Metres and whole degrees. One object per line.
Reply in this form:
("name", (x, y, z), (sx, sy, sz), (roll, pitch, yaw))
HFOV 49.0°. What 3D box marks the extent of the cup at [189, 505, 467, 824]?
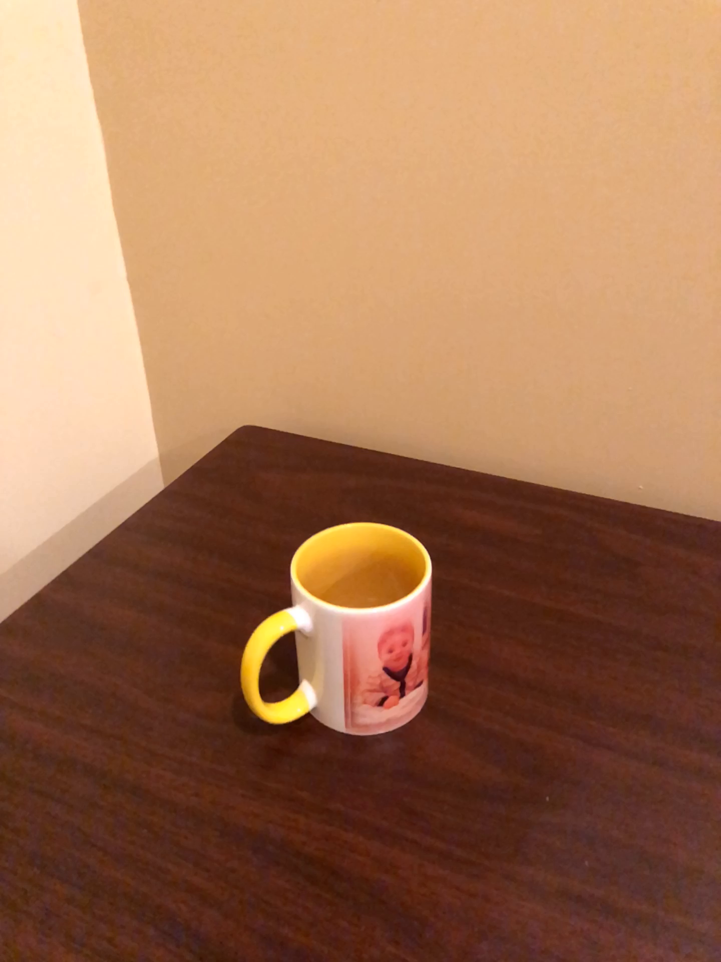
("cup", (-0.015, 0.097, 0.450), (0.090, 0.100, 0.120), (26, 41, 37))
